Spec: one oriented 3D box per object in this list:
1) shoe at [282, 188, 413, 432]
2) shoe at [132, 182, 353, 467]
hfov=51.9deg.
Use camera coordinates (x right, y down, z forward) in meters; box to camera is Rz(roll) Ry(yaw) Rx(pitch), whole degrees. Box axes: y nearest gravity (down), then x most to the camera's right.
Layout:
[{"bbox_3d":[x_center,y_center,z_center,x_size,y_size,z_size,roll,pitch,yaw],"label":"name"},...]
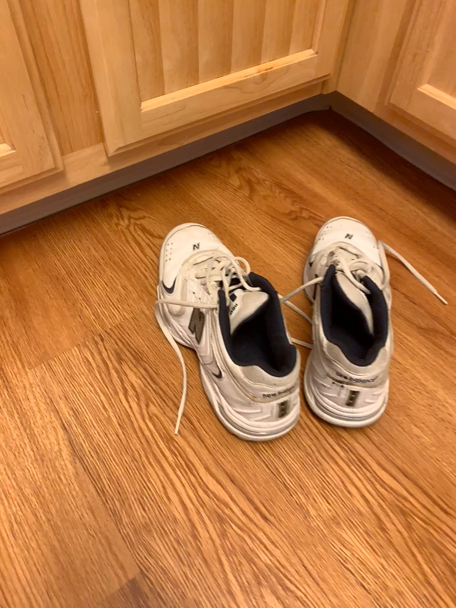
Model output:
[{"bbox_3d":[0.136,-0.005,0.577,0.110,0.109,0.281,7,51,3],"label":"shoe"},{"bbox_3d":[-0.003,0.006,0.508,0.110,0.109,0.281,-18,54,-17],"label":"shoe"}]
